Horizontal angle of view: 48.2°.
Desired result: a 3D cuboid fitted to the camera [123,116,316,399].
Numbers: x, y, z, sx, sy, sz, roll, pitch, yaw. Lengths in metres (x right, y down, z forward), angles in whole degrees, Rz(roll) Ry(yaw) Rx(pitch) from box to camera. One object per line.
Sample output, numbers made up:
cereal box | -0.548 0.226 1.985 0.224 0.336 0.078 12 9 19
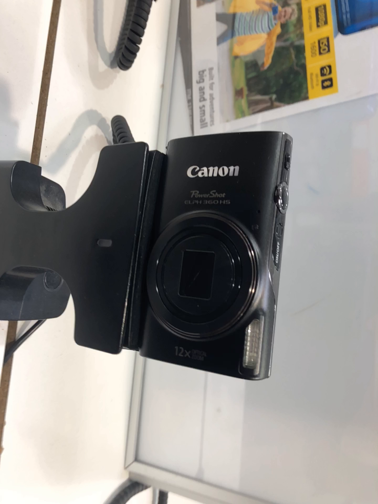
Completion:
camera | 0.015 0.001 0.191 0.030 0.070 0.110 23 72 -60
